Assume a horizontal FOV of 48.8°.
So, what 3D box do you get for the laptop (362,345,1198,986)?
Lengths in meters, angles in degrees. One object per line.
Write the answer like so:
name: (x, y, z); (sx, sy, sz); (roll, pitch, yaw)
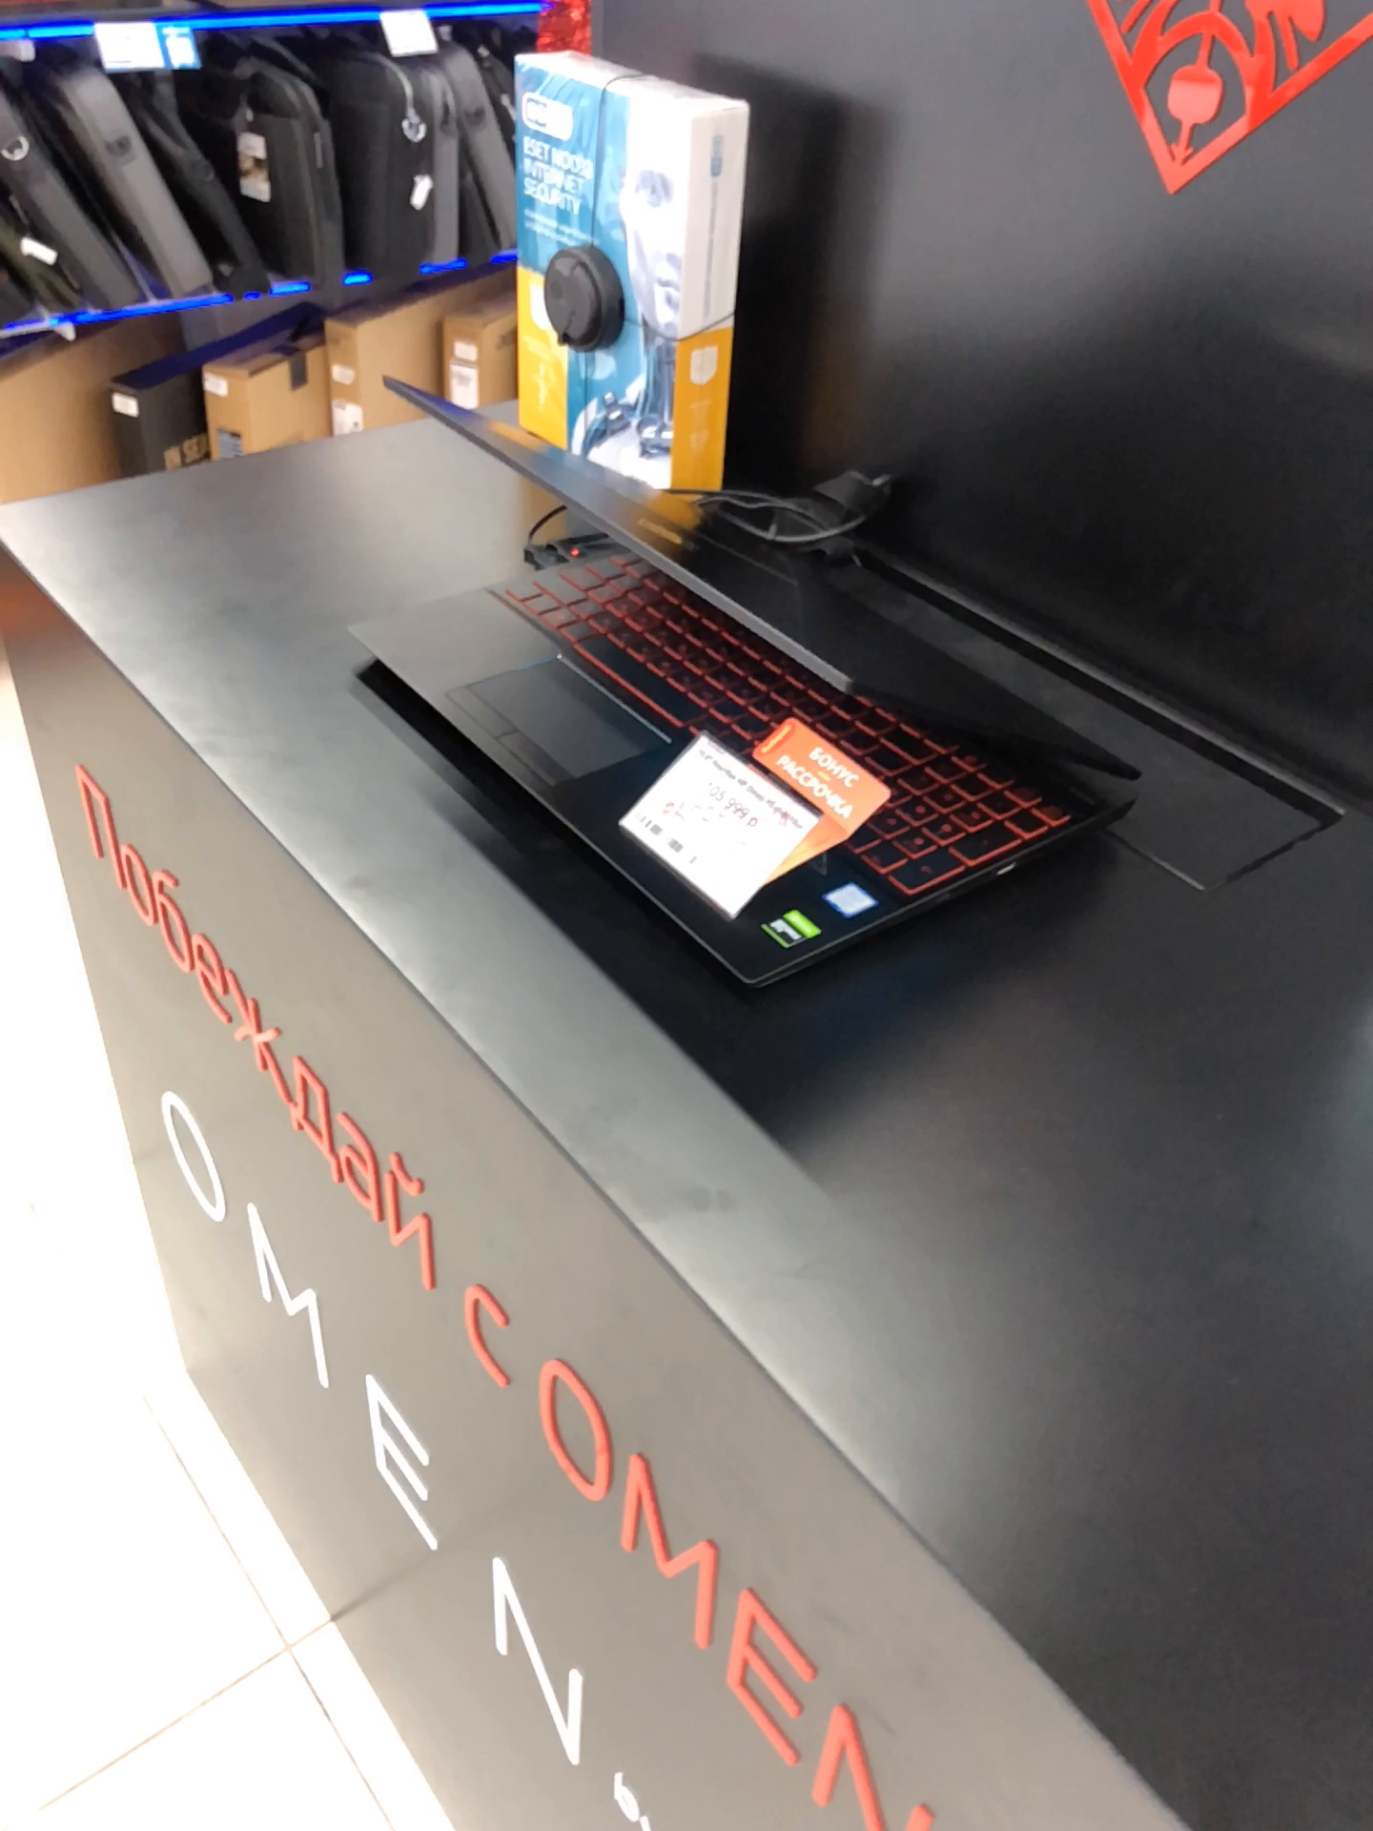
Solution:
laptop: (0.023, -0.151, 0.739); (0.231, 0.121, 0.351); (-22, 43, -27)
